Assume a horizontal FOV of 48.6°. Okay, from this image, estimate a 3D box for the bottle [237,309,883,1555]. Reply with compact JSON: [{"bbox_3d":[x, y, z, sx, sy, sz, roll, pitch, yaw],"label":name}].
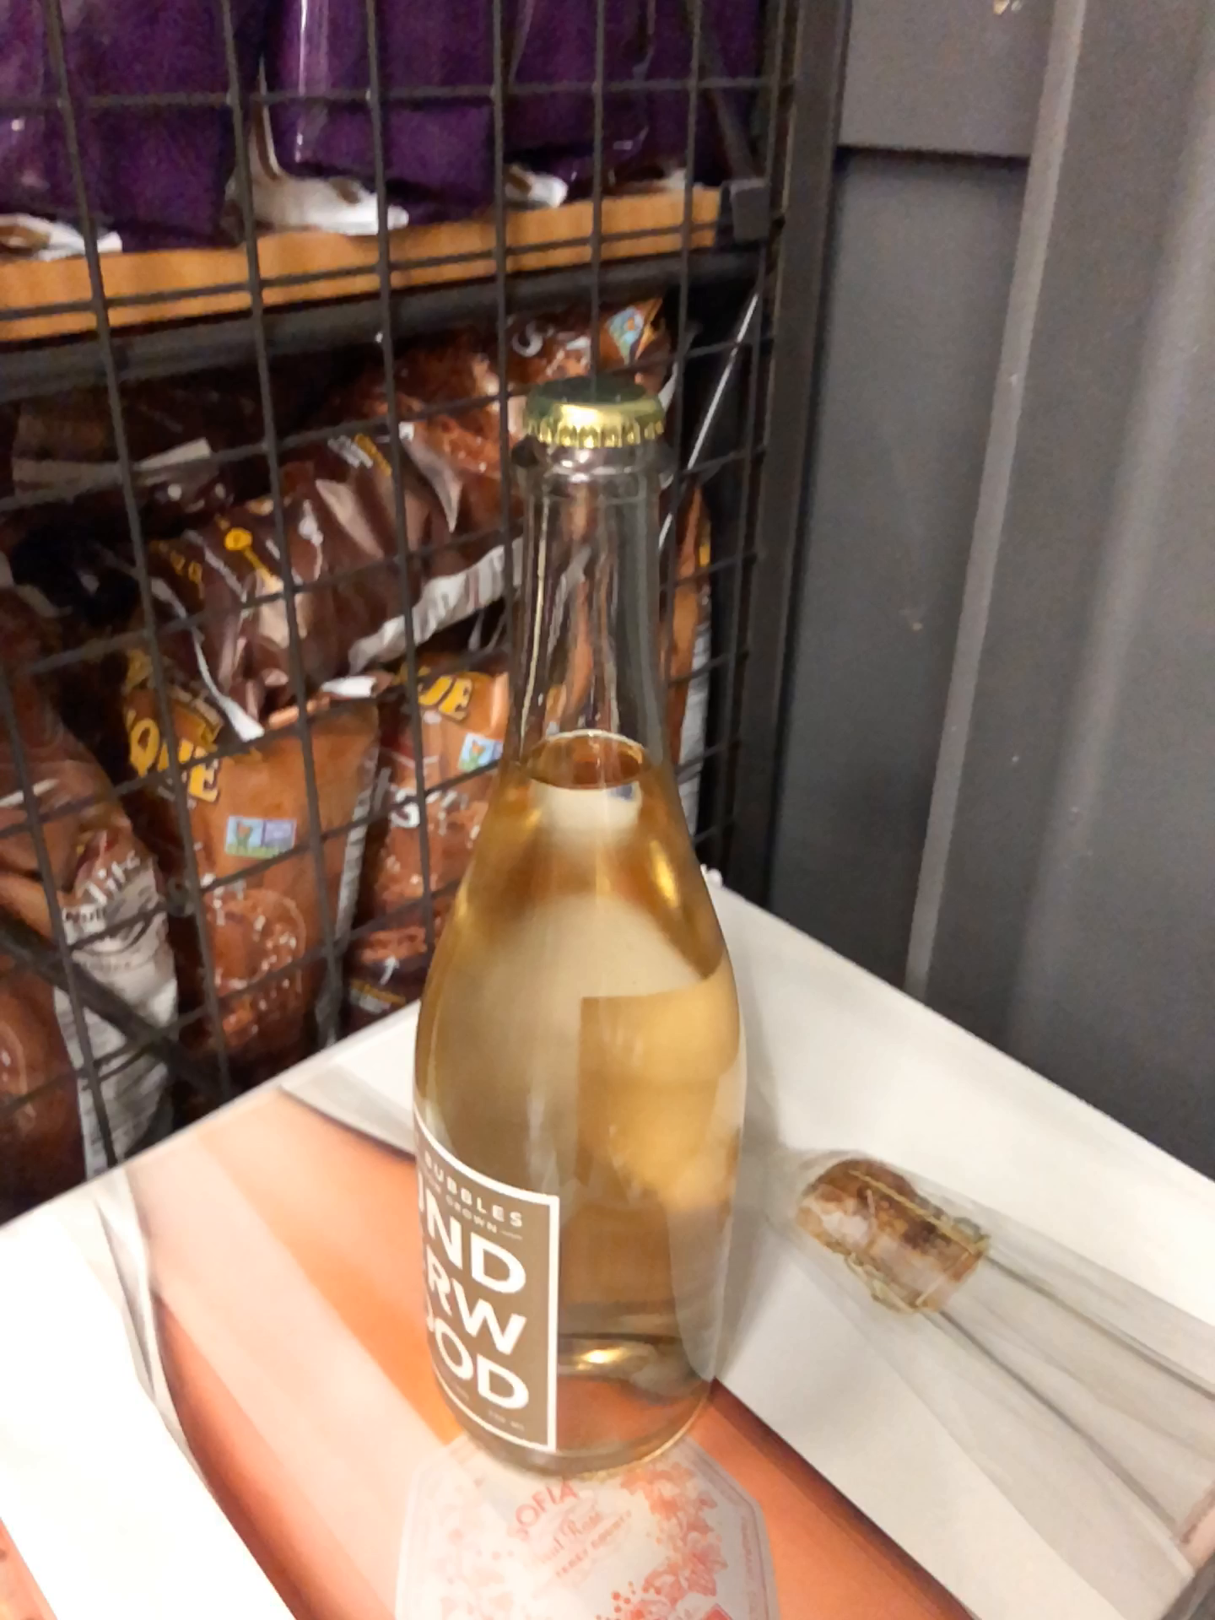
[{"bbox_3d":[-0.014,0.039,0.357,0.095,0.304,0.099,1,29,0],"label":"bottle"}]
